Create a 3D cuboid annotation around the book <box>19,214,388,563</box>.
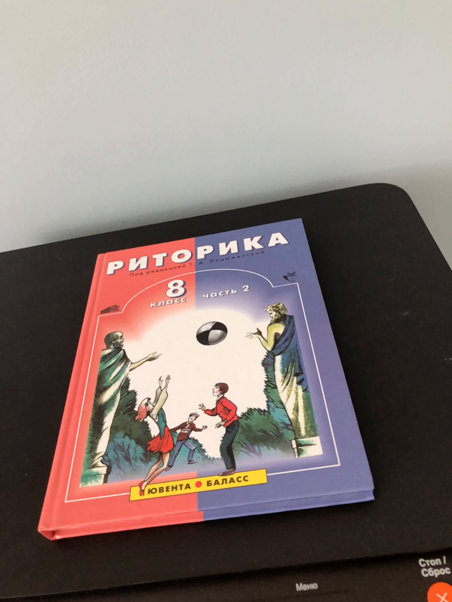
[{"bbox_3d":[-0.017,0.032,0.312,0.170,0.020,0.221,-9,44,5],"label":"book"}]
